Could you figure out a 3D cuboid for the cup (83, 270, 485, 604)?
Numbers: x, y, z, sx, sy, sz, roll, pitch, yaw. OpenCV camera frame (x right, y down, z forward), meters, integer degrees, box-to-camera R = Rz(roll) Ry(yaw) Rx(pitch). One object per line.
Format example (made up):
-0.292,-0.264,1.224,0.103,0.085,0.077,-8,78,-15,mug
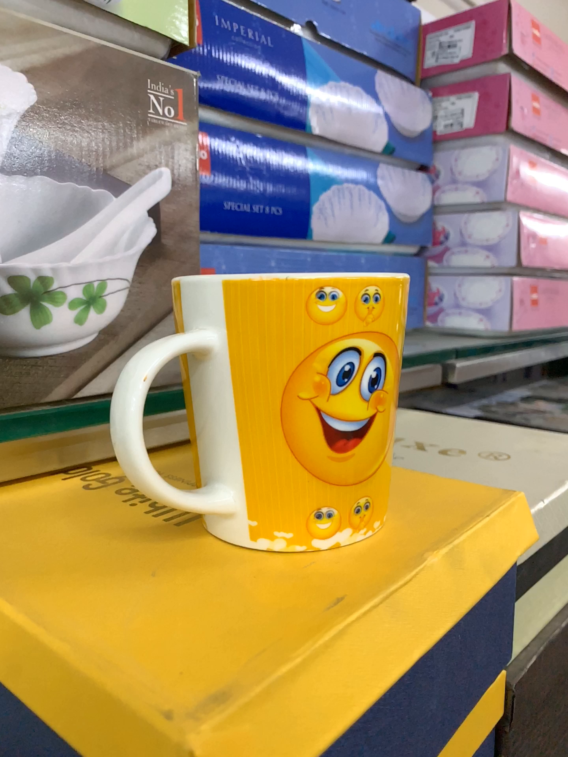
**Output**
0.003,0.006,0.207,0.119,0.081,0.072,-6,11,-41,cup
